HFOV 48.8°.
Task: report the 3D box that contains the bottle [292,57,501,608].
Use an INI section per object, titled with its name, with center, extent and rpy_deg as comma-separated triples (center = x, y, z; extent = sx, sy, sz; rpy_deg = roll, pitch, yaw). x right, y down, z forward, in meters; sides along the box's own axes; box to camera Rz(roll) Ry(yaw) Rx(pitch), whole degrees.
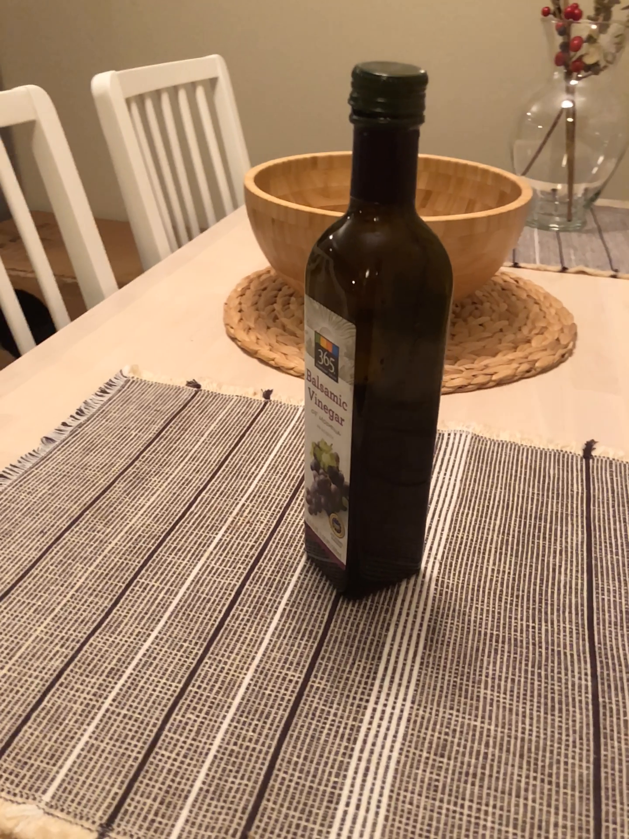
[bottle]
center = 0.030, -0.031, 0.345
extent = 0.060, 0.261, 0.060
rpy_deg = 1, 30, -1
